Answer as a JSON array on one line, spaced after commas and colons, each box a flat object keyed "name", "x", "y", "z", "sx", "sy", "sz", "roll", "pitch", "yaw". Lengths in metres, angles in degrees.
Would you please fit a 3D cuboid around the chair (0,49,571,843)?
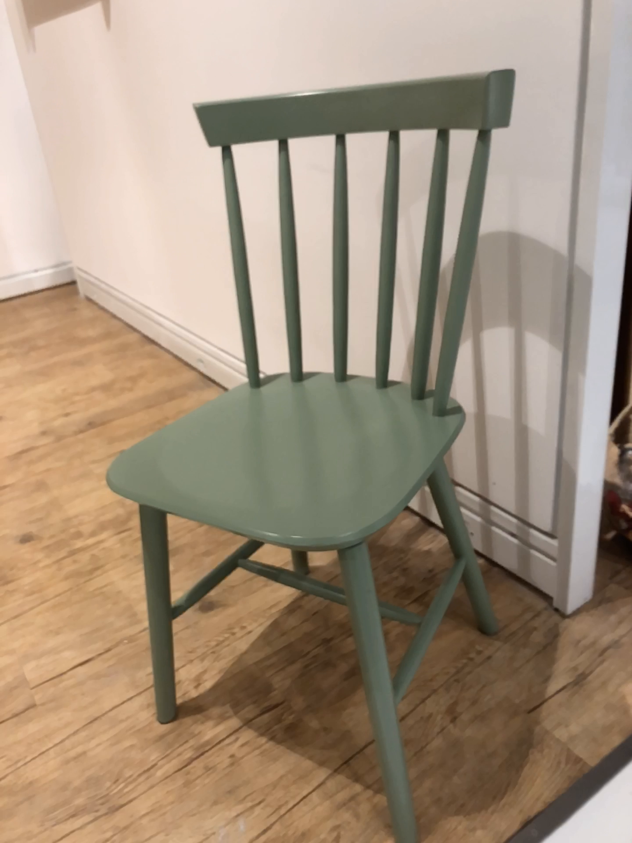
[{"name": "chair", "x": 0.009, "y": -0.007, "z": 0.947, "sx": 0.471, "sy": 0.814, "sz": 0.523, "roll": 11, "pitch": 32, "yaw": 31}]
